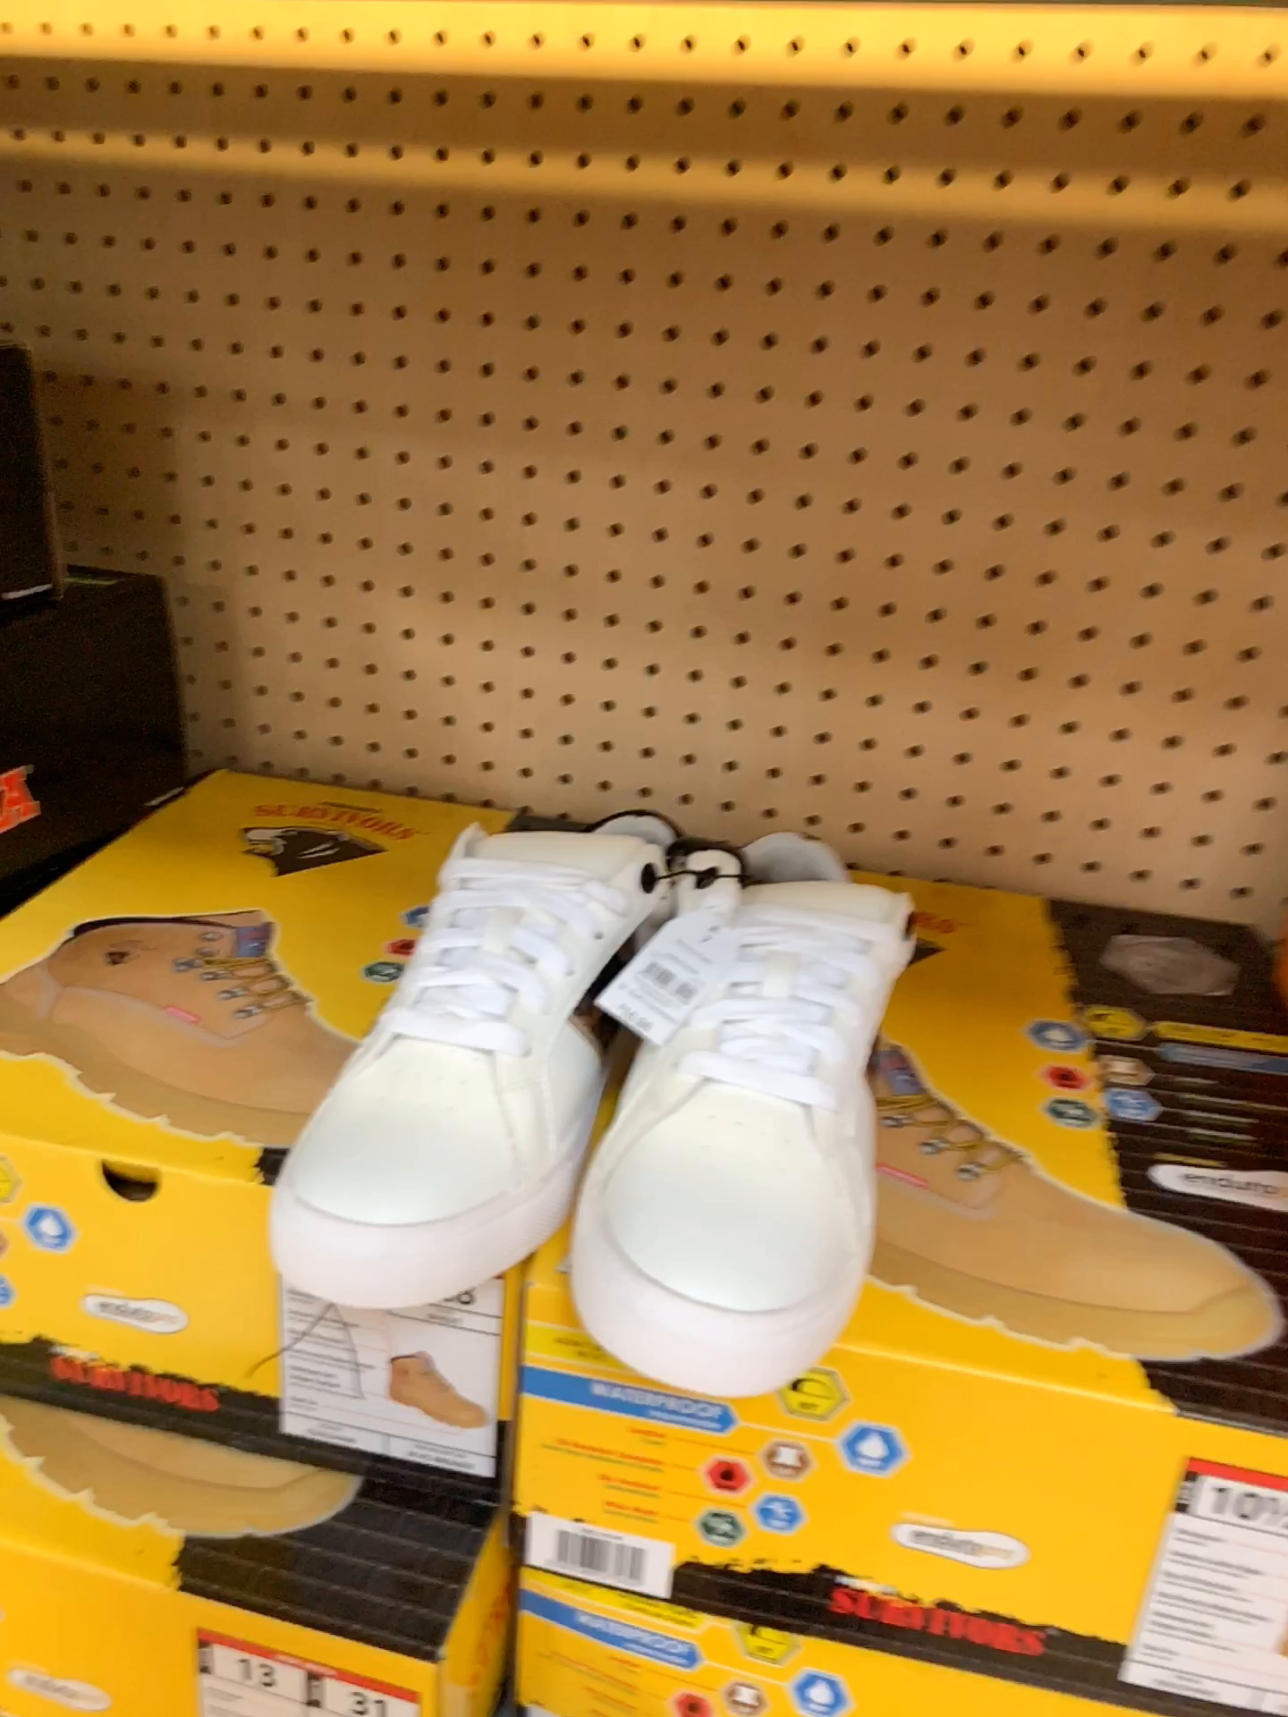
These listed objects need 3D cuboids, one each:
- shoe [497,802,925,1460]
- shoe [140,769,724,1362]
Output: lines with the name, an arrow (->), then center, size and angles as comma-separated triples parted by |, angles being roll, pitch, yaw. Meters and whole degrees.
shoe -> 0.037, 0.068, 0.447 | 0.102, 0.070, 0.242 | 11, 26, 7
shoe -> -0.055, 0.051, 0.472 | 0.100, 0.072, 0.246 | 11, 27, 16
